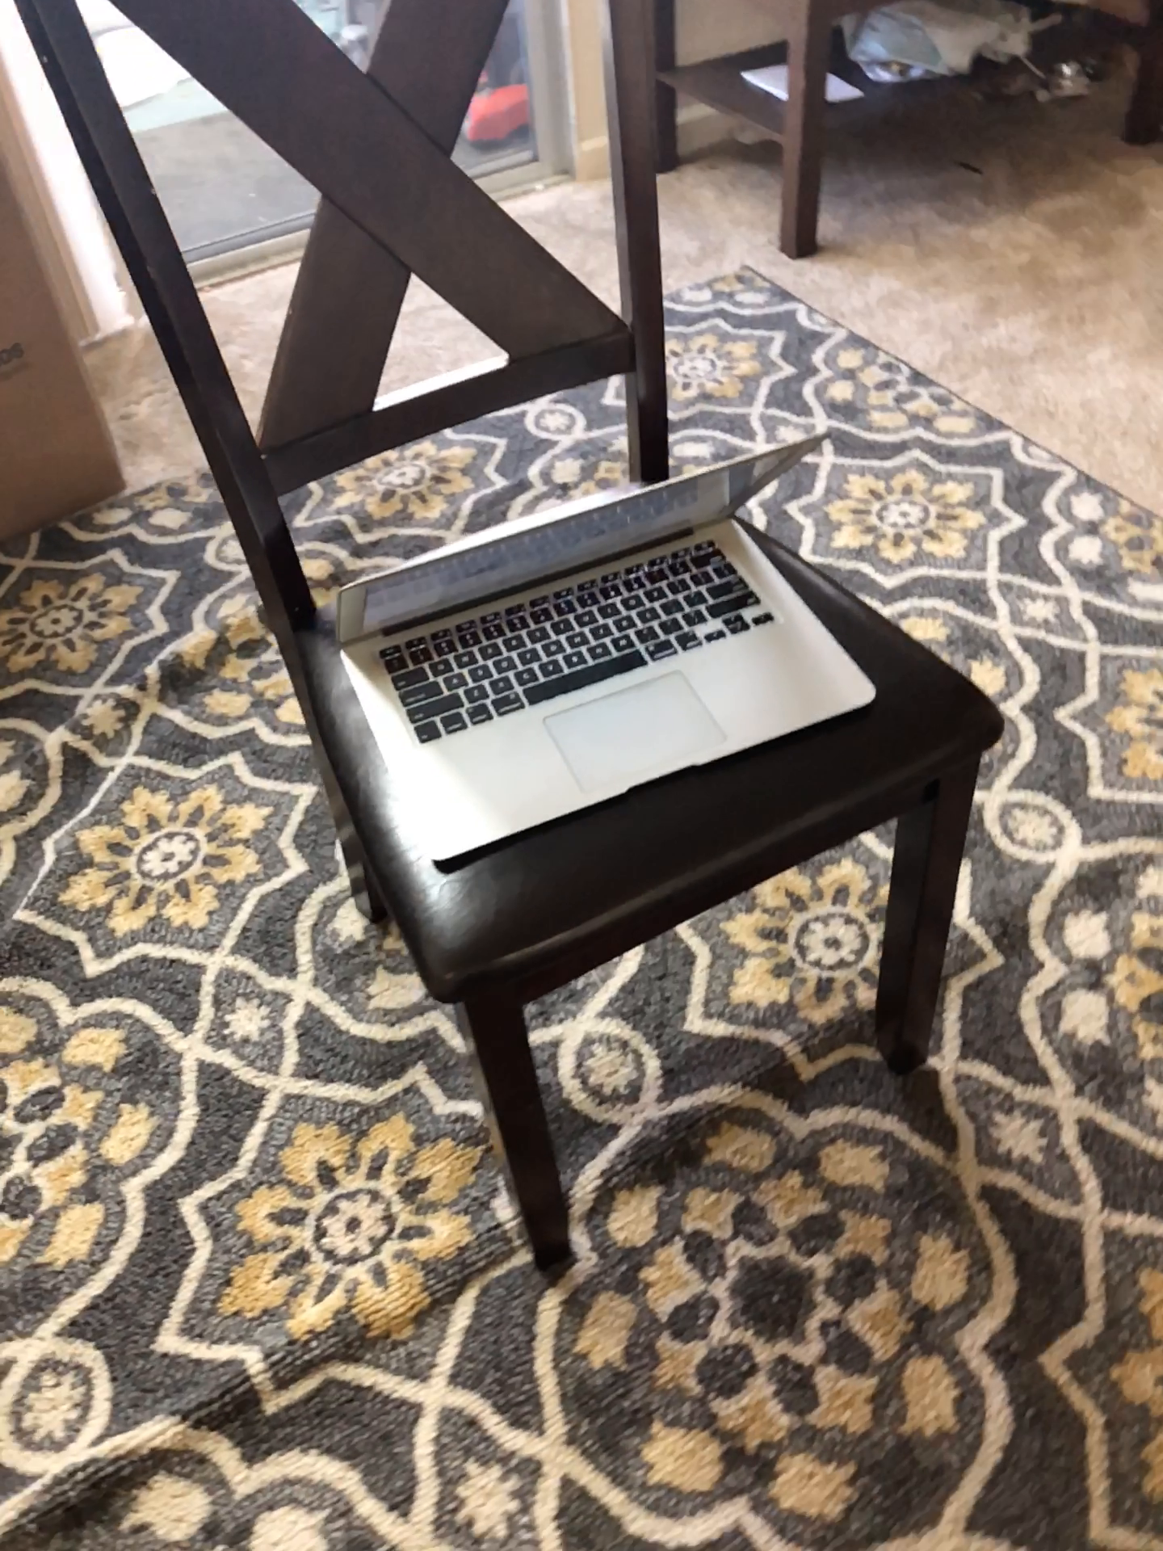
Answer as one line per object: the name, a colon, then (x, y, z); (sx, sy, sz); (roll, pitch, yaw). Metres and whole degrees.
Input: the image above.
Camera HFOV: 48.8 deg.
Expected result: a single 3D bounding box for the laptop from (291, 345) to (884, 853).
laptop: (0.000, -0.125, 0.834); (0.303, 0.154, 0.216); (-19, 47, -12)
